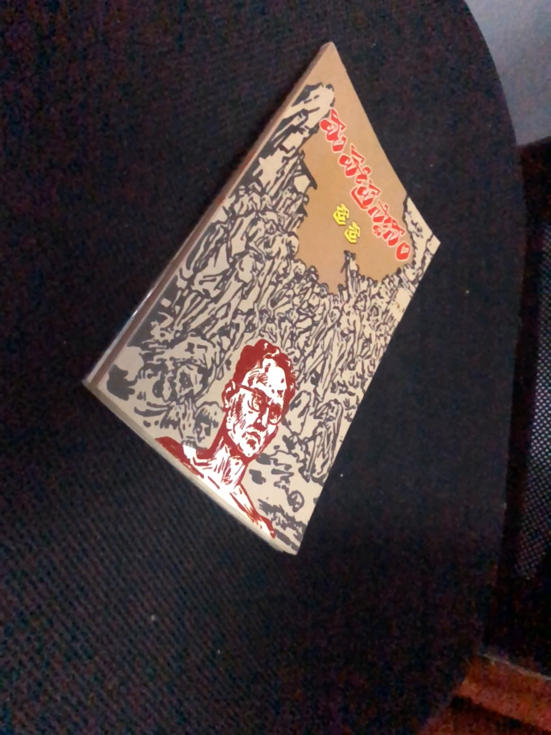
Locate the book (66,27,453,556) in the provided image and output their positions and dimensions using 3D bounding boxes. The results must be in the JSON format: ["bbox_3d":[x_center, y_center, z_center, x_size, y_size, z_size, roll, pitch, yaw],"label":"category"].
[{"bbox_3d":[0.017,-0.038,0.306,0.141,0.018,0.220,48,61,-37],"label":"book"}]
